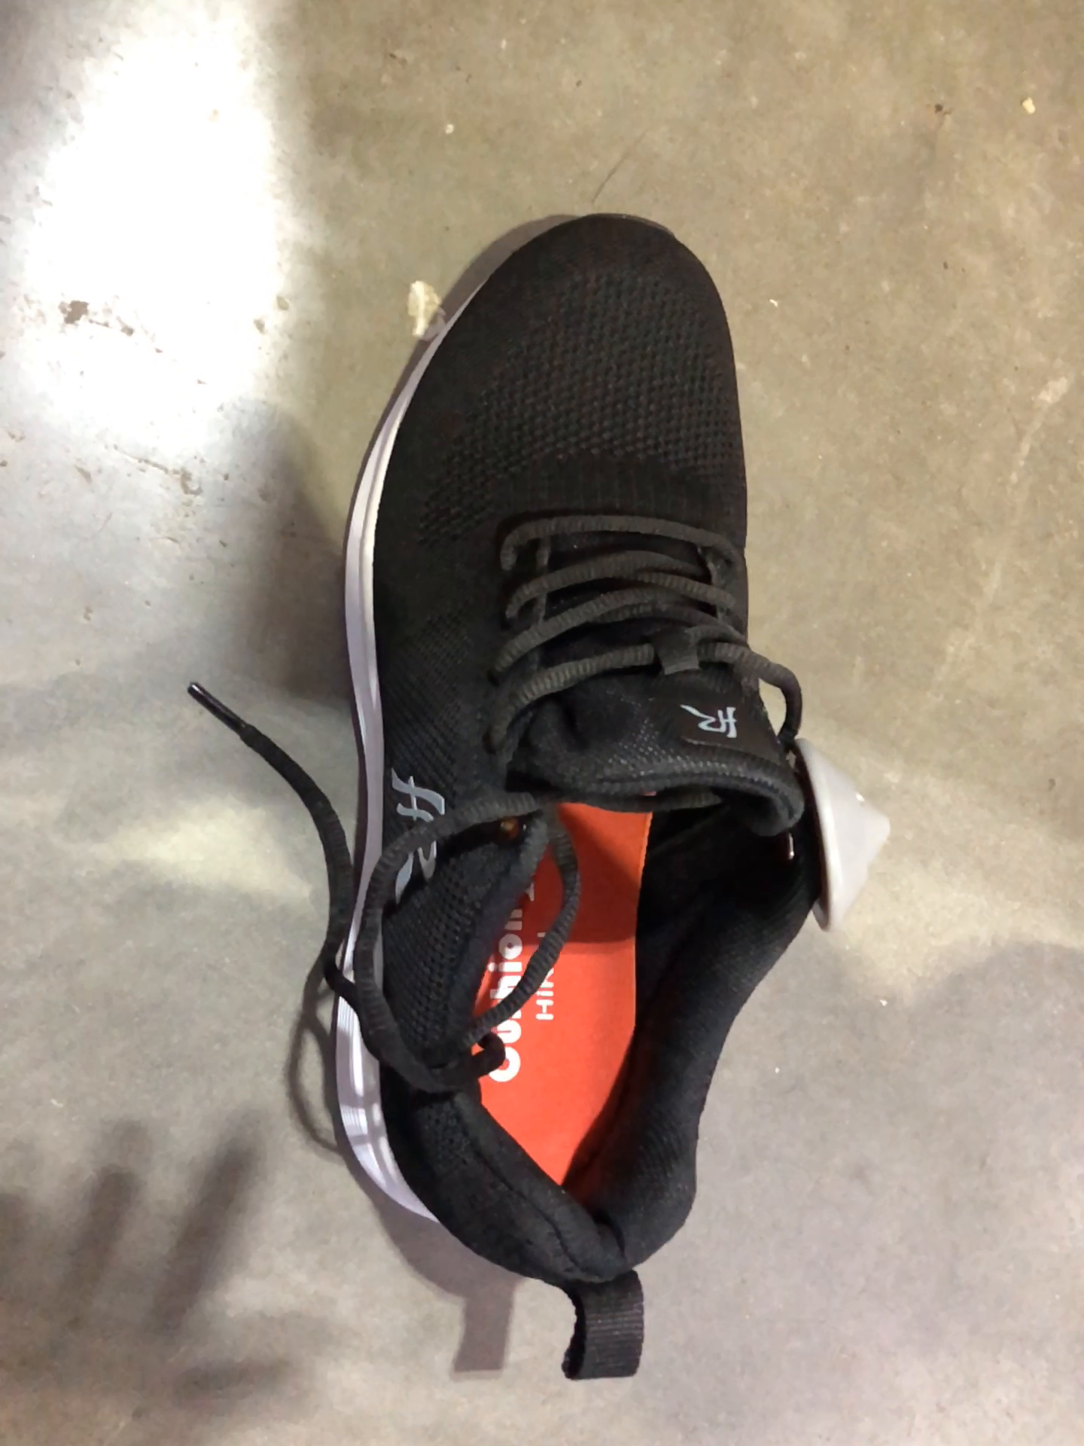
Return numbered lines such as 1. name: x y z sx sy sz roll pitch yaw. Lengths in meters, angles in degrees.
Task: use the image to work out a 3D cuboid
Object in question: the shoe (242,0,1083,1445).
1. shoe: 0.024 0.001 0.272 0.130 0.120 0.280 9 85 -17
